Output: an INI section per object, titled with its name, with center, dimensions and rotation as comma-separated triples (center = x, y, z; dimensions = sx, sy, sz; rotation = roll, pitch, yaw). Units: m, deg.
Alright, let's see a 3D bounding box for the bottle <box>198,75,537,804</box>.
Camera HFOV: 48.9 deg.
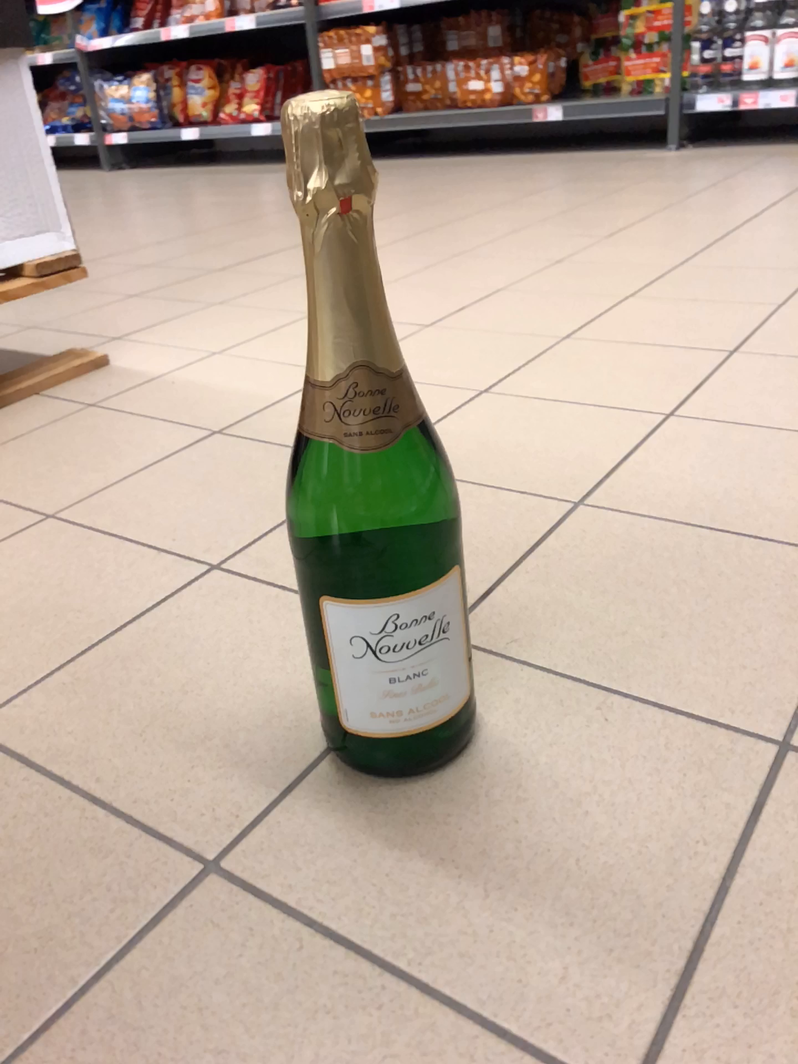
[bottle]
center = -0.007, -0.033, 0.399
dimensions = 0.100, 0.298, 0.090
rotation = -13, 28, -13
